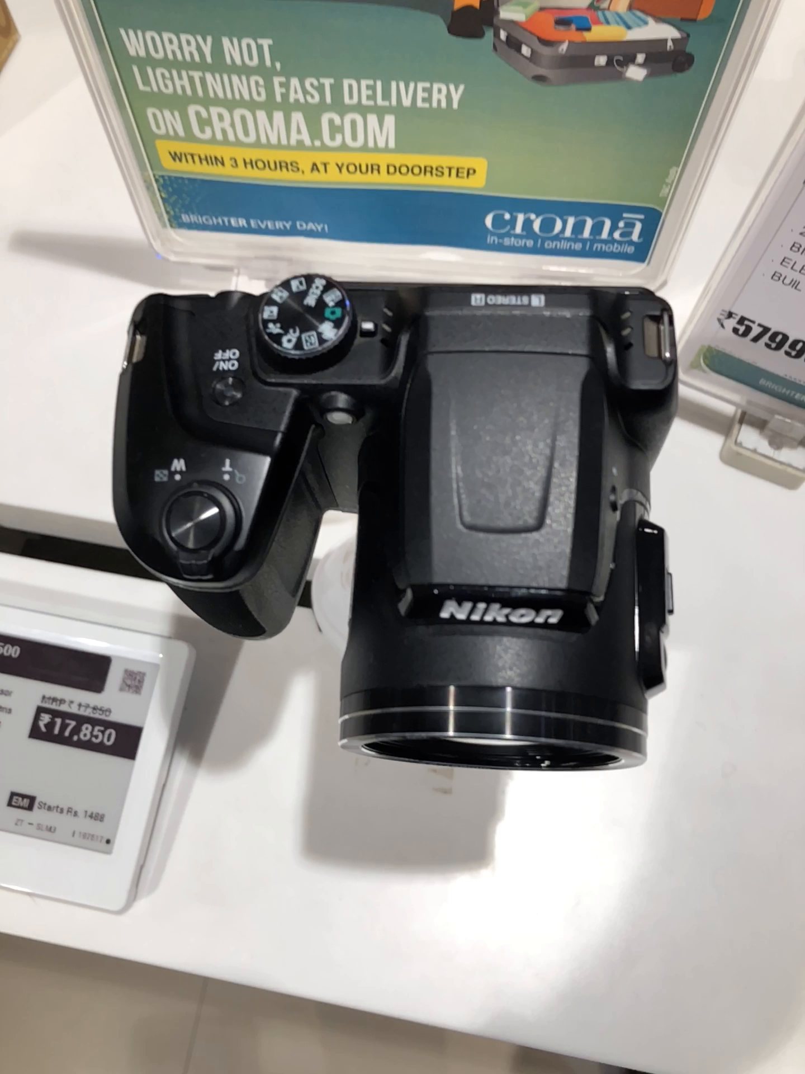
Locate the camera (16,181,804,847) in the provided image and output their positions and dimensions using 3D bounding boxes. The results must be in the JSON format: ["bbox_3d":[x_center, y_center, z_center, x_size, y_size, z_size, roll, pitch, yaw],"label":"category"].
[{"bbox_3d":[0.003,-0.001,0.177,0.110,0.070,0.110,1,67,1],"label":"camera"}]
